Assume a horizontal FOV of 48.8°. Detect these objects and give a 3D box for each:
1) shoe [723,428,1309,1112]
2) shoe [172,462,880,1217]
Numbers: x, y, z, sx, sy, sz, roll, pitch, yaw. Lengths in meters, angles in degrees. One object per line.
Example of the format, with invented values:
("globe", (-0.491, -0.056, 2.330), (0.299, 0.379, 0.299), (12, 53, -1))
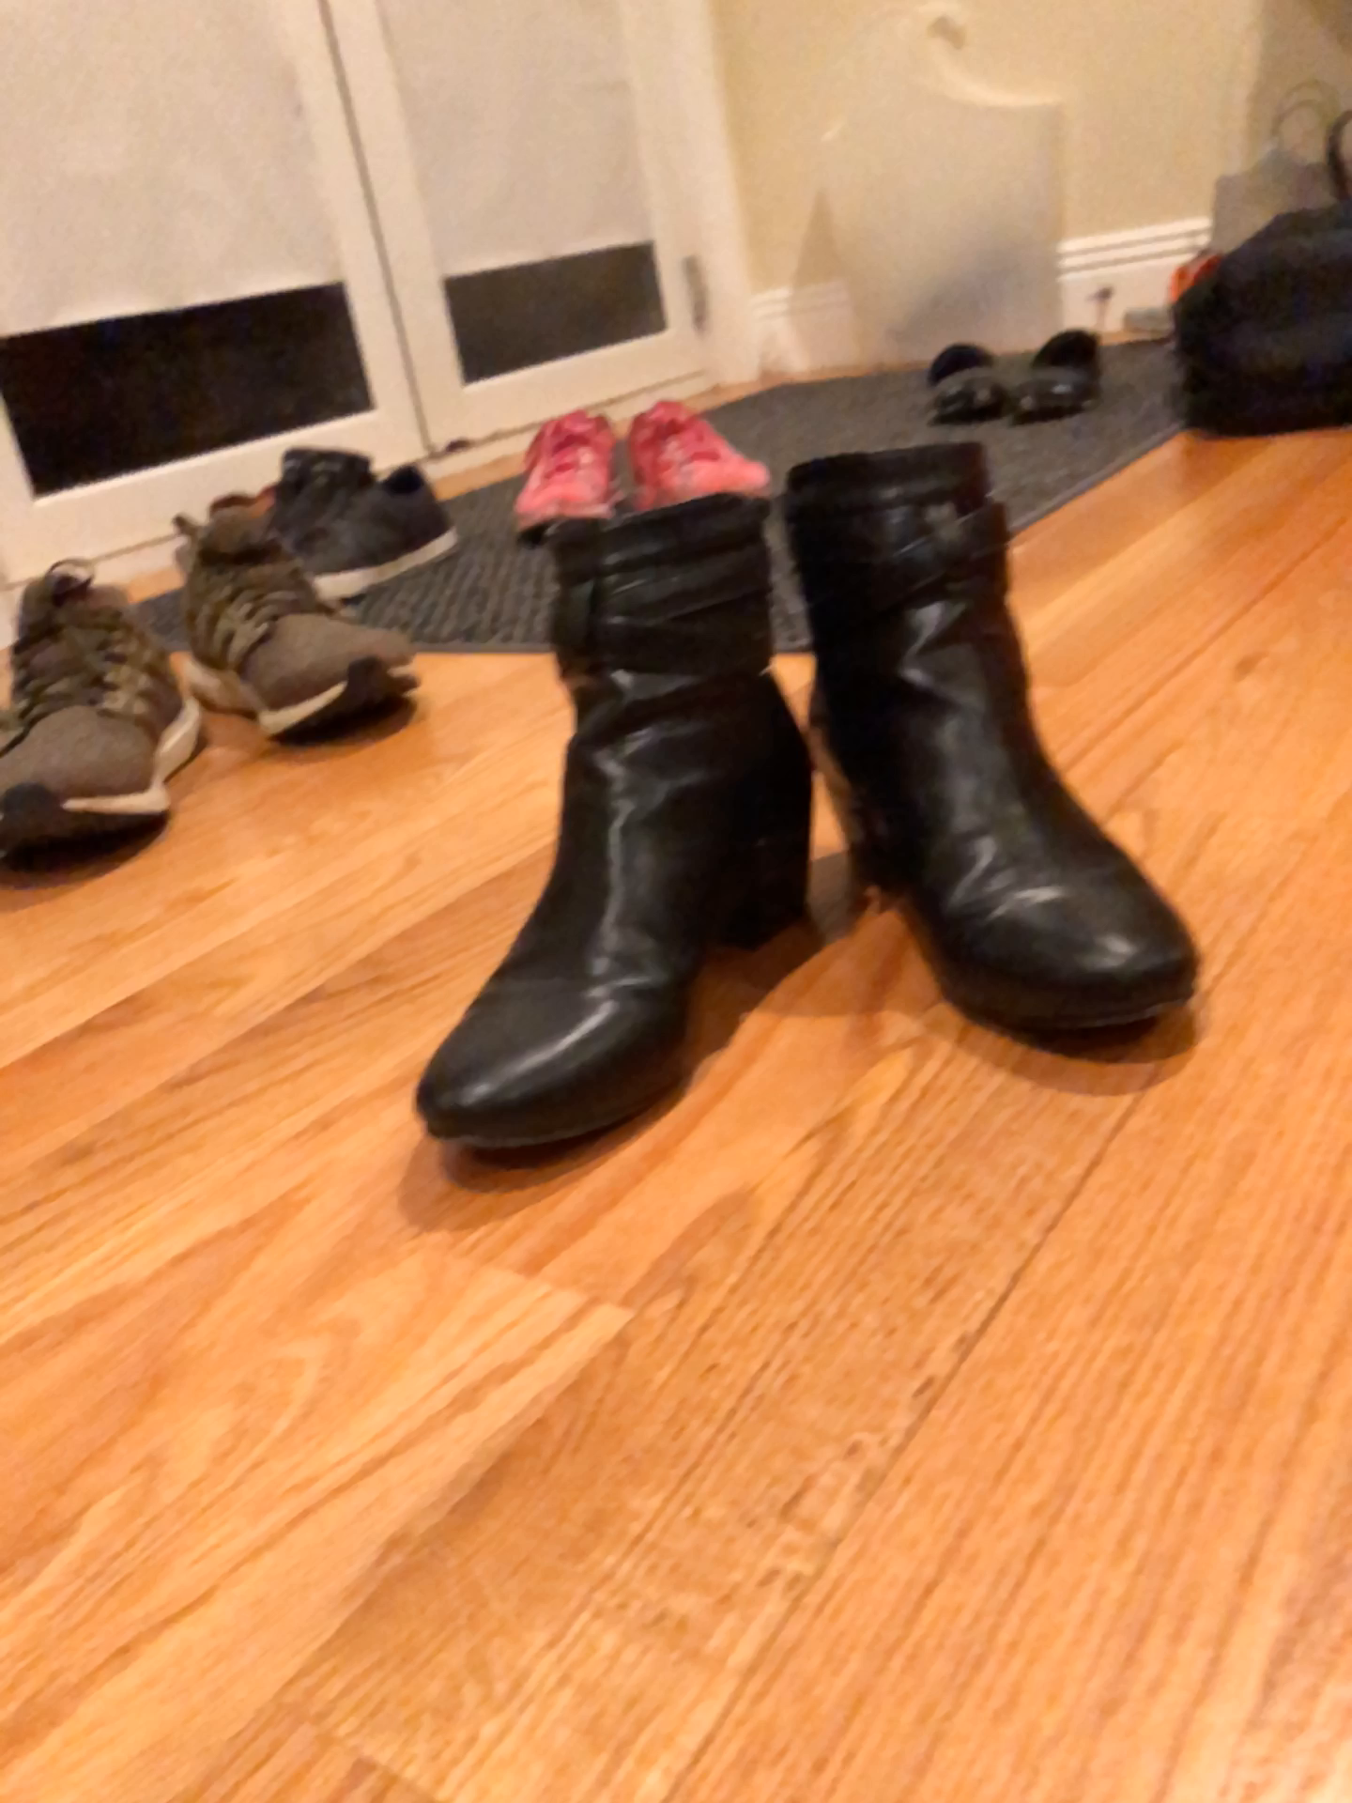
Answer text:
("shoe", (0.107, -0.064, 0.523), (0.090, 0.172, 0.227), (-15, 22, -11))
("shoe", (-0.030, -0.037, 0.511), (0.090, 0.172, 0.227), (4, 26, 33))
